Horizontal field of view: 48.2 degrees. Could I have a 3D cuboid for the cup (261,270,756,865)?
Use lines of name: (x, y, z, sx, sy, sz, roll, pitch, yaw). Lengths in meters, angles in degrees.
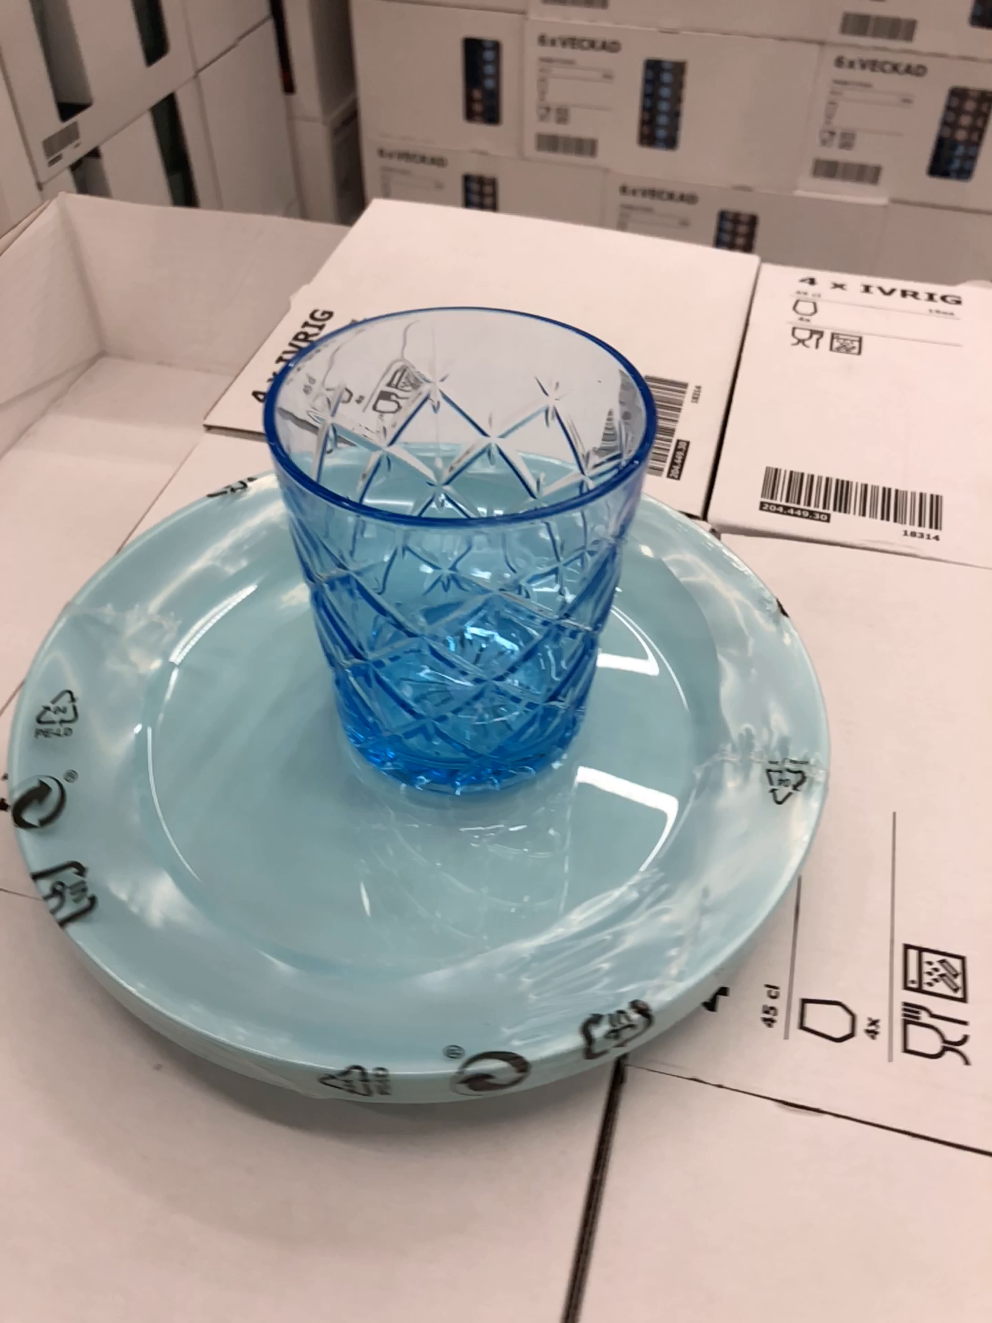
cup: (-0.003, -0.023, 0.269, 0.090, 0.100, 0.090, 0, 46, 0)
